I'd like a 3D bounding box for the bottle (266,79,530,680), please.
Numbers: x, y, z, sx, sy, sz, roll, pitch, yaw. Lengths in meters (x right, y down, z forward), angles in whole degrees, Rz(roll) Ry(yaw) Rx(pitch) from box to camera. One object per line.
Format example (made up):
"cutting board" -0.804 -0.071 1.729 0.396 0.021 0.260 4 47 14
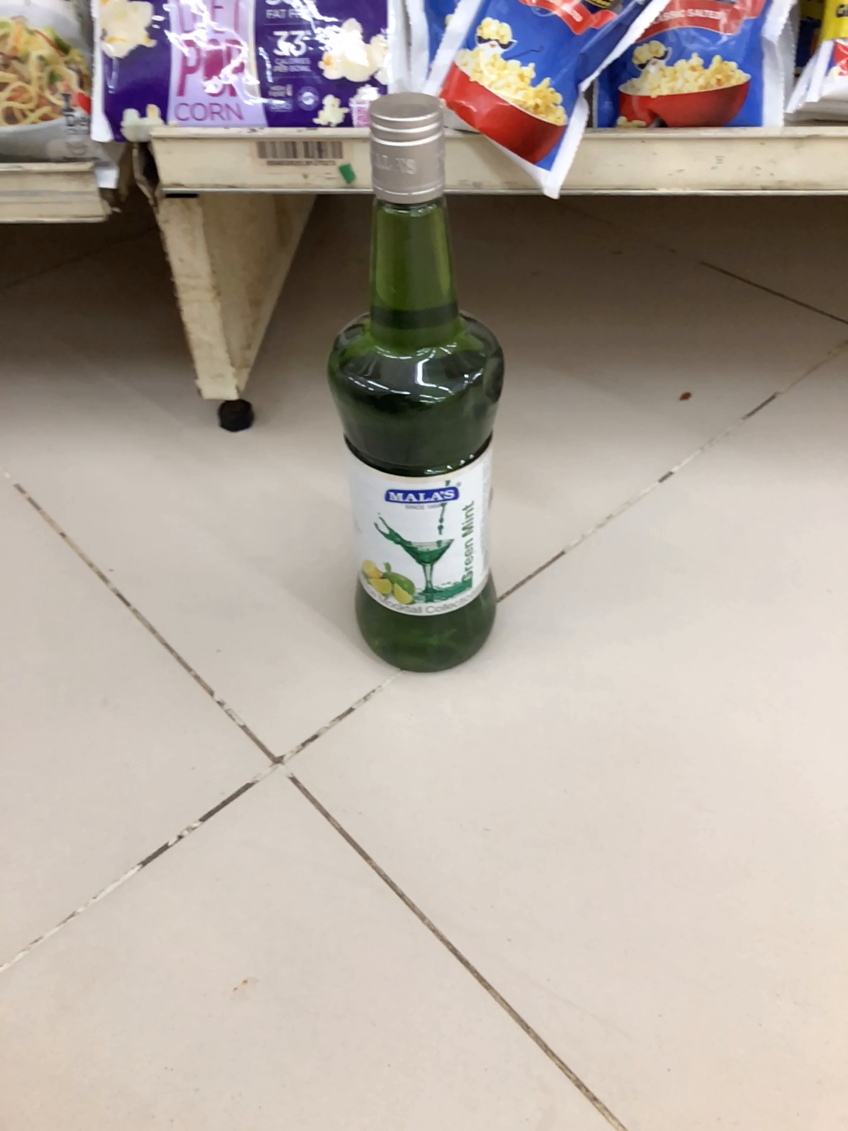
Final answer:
"bottle" -0.001 -0.067 0.450 0.090 0.278 0.091 -2 45 2
